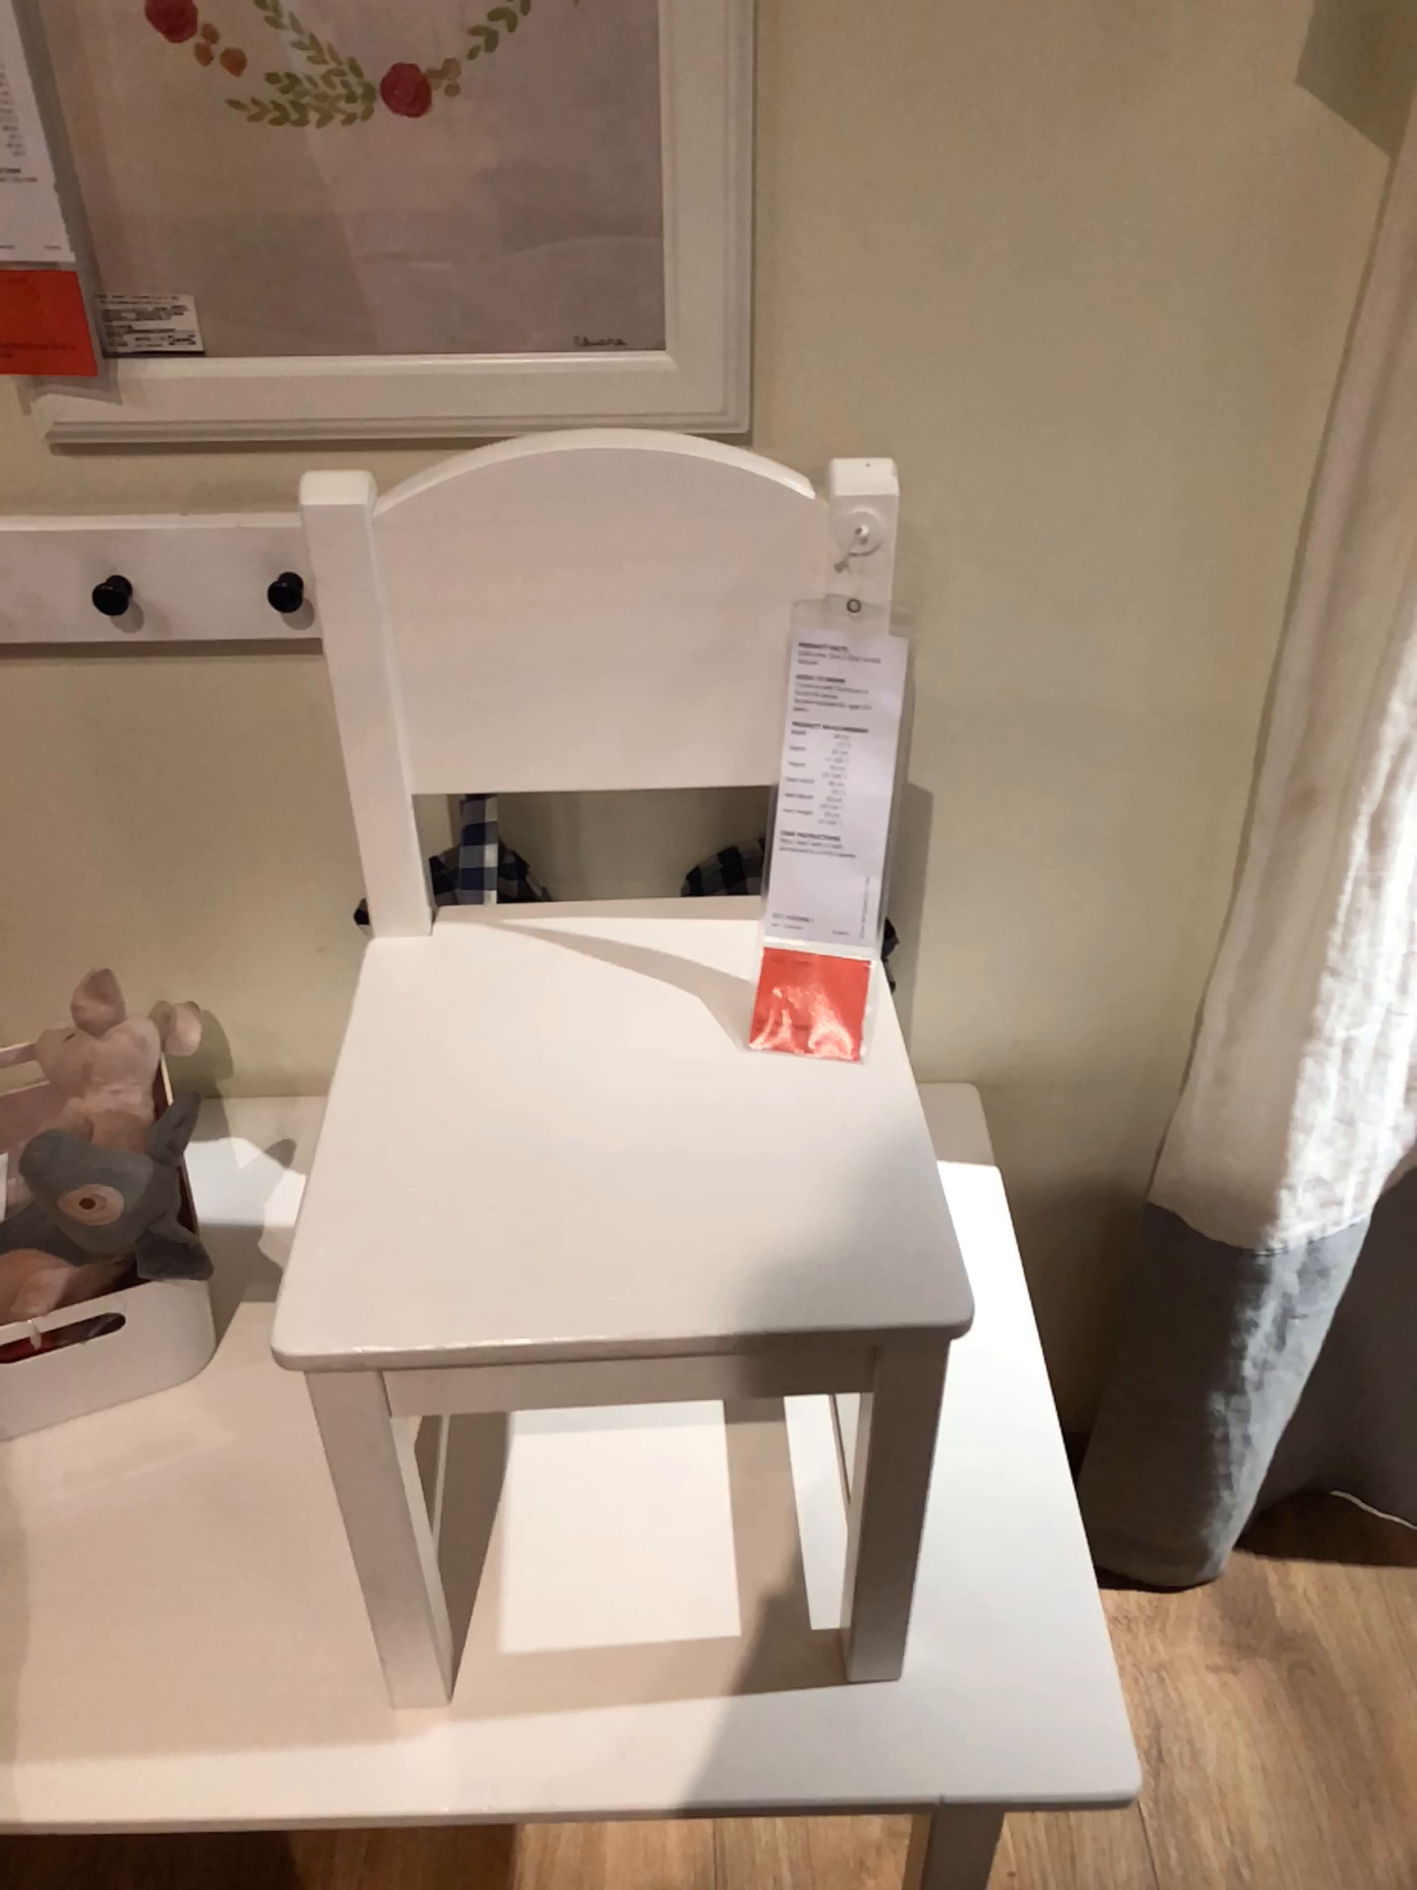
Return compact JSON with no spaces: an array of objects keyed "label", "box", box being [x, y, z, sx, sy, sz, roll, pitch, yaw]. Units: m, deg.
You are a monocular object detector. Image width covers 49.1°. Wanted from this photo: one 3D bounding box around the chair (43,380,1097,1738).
[{"label":"chair","box":[-0.044,0.070,0.739,0.300,0.556,0.322,-3,38,-2]}]
